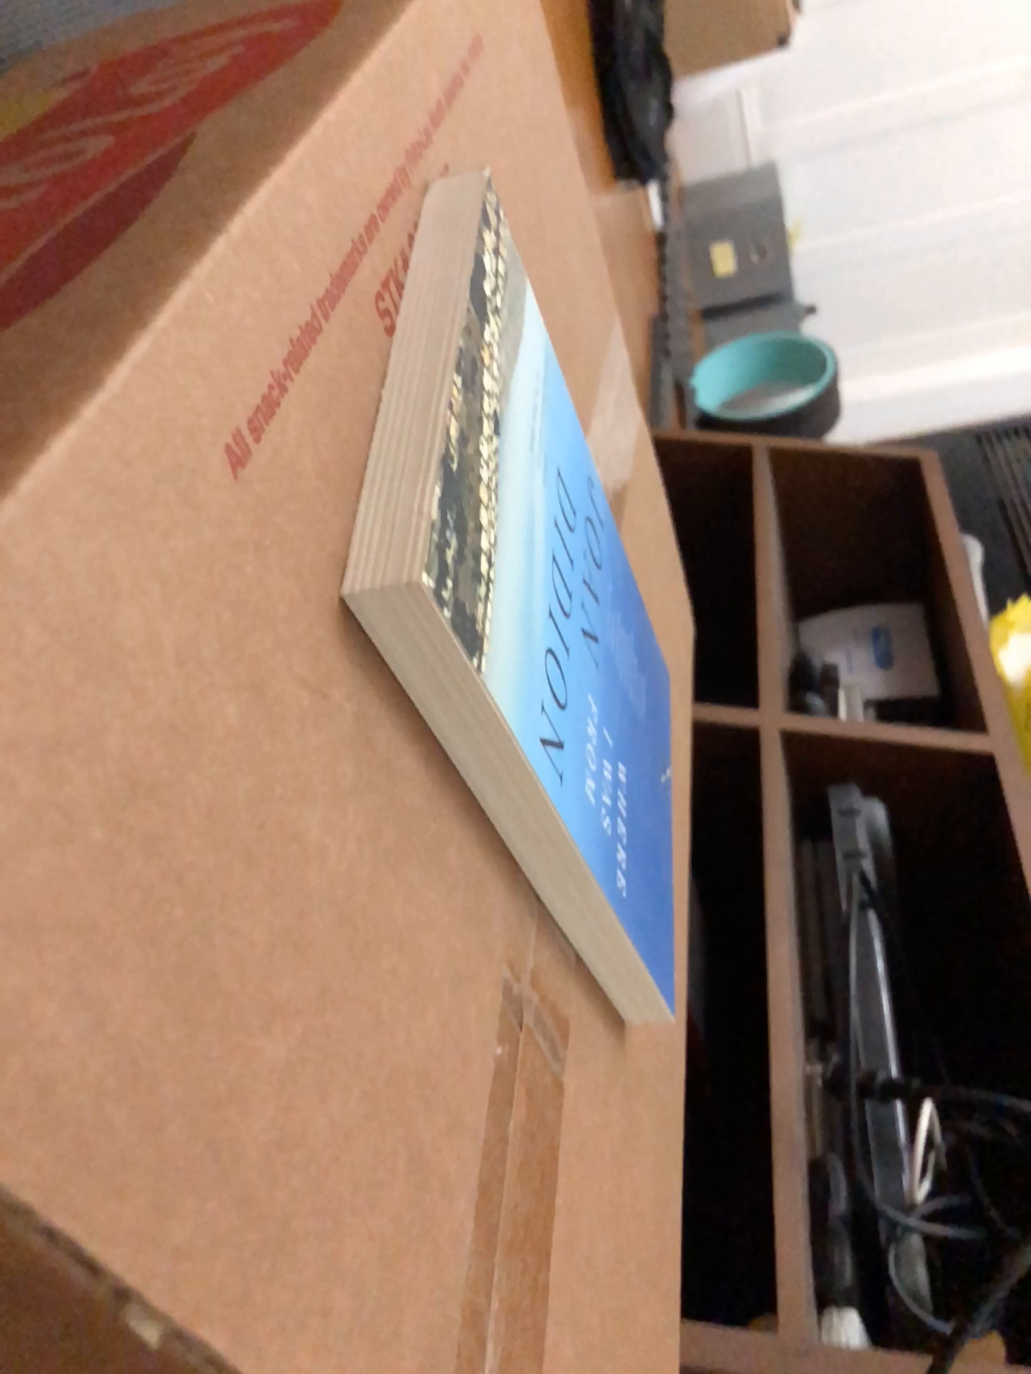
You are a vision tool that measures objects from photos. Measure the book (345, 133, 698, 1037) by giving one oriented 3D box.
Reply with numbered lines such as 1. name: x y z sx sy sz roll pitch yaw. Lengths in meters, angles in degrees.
1. book: 0.018 -0.012 0.310 0.210 0.020 0.140 62 25 -49
